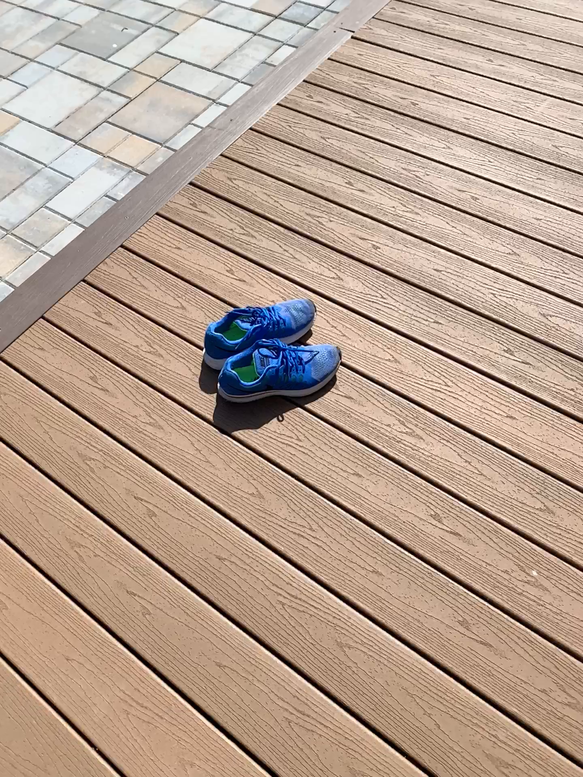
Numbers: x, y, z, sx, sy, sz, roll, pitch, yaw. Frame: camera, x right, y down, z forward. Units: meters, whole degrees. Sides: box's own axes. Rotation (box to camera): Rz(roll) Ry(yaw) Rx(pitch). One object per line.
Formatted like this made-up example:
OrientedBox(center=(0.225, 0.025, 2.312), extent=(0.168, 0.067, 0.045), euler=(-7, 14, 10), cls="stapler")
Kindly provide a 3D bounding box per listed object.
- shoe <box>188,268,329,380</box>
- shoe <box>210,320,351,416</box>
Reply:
OrientedBox(center=(-0.073, -0.153, 1.399), extent=(0.297, 0.103, 0.120), euler=(-25, 58, -10), cls="shoe")
OrientedBox(center=(-0.022, -0.045, 1.331), extent=(0.290, 0.105, 0.120), euler=(-12, 57, -2), cls="shoe")
